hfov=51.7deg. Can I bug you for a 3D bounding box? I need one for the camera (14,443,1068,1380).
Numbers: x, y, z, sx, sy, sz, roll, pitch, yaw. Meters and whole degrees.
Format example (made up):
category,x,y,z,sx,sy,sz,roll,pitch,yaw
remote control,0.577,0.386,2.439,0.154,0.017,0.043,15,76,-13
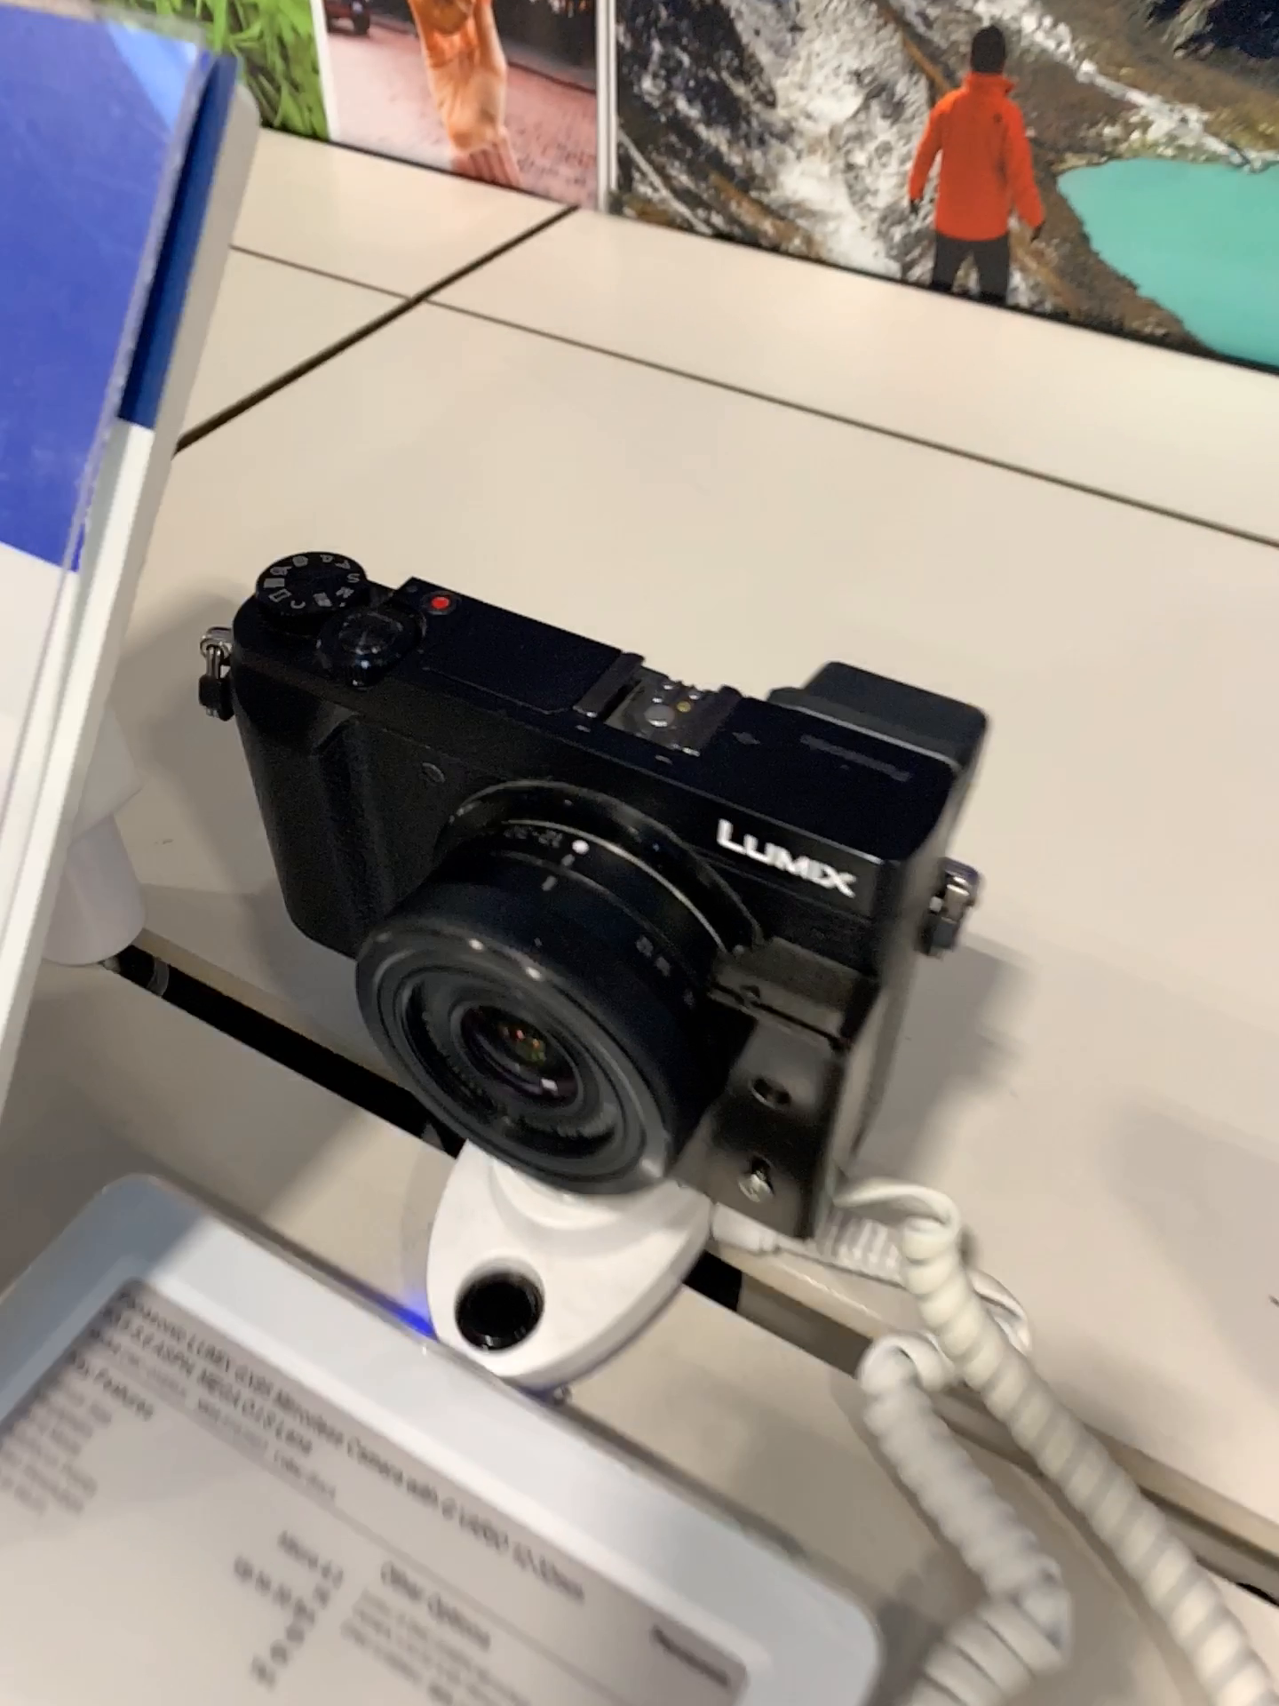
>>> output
category,x,y,z,sx,sy,sz,roll,pitch,yaw
camera,-0.013,0.004,0.203,0.120,0.080,0.070,23,51,20
